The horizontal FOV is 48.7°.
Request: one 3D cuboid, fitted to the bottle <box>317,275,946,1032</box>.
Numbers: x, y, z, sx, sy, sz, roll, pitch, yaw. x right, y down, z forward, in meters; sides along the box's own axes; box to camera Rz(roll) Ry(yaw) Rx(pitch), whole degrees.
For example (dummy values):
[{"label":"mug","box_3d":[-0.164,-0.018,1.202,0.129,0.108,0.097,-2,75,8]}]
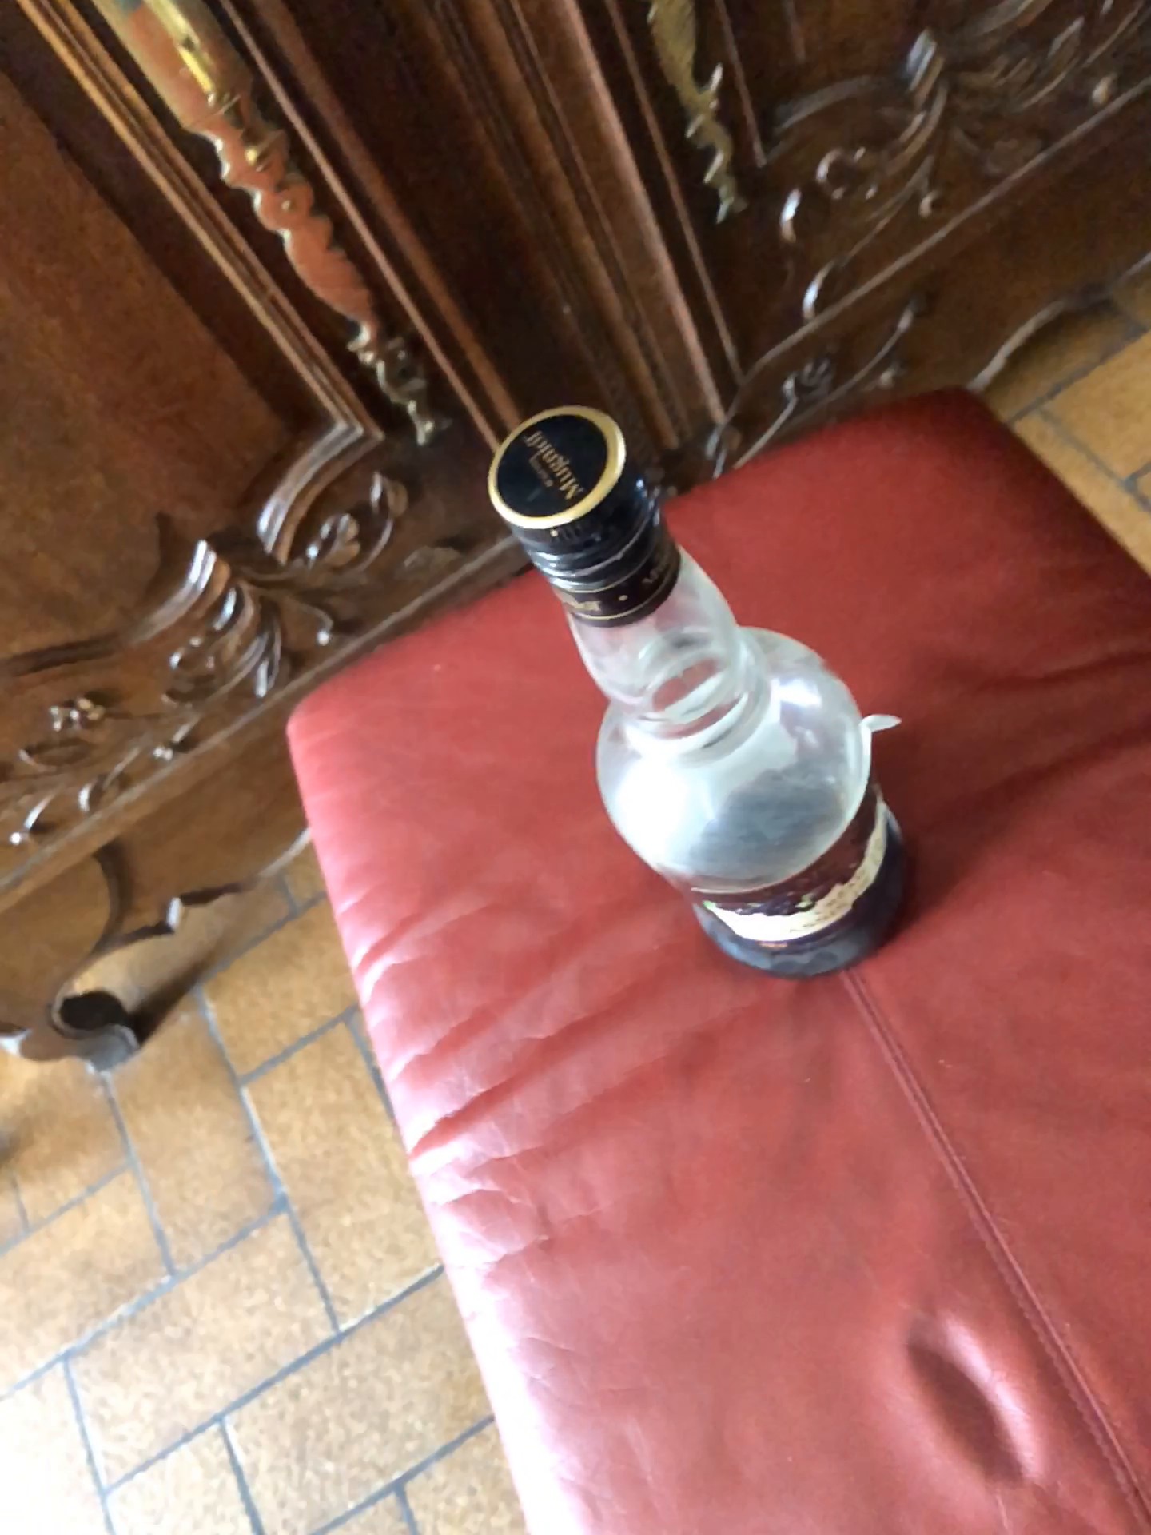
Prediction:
[{"label":"bottle","box_3d":[0.043,-0.006,0.383,0.080,0.279,0.080,-8,64,17]}]
